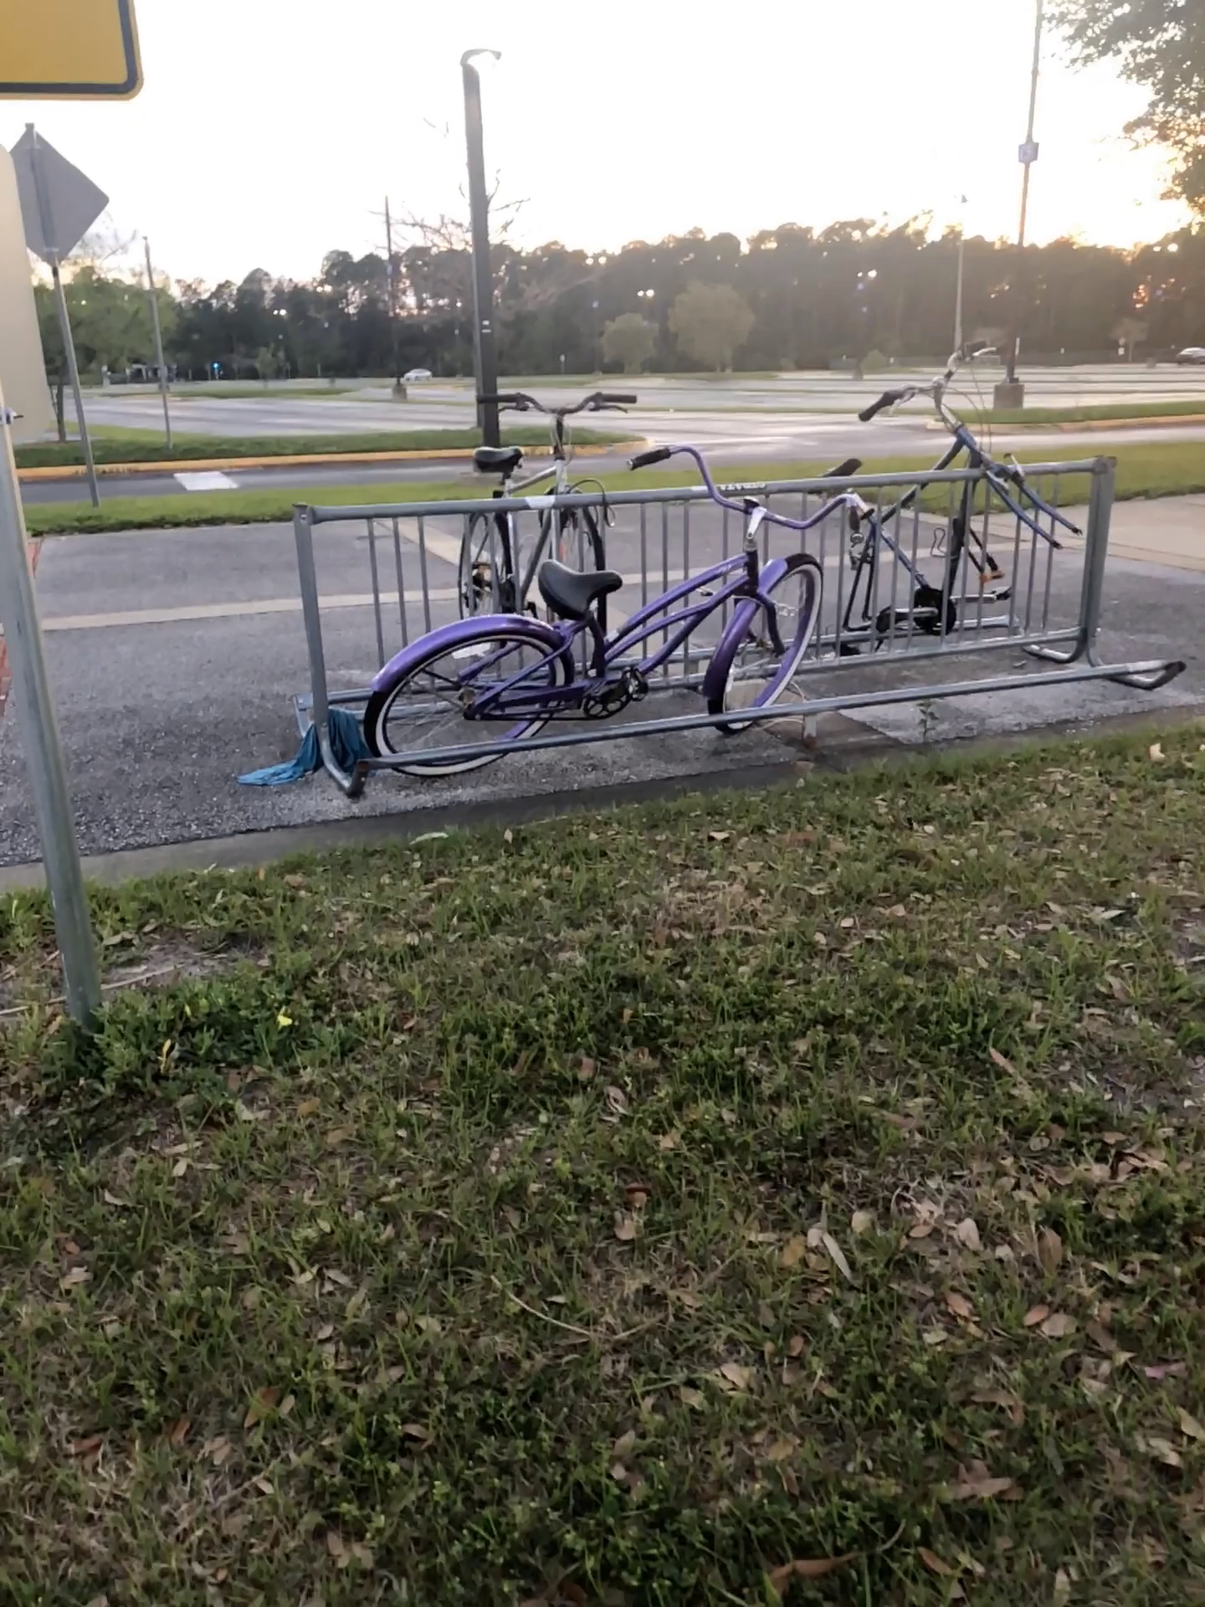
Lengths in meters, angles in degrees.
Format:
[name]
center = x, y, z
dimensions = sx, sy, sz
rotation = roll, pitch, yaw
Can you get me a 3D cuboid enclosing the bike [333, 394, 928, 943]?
[bike]
center = 0.101, -0.541, 3.990
dimensions = 1.702, 1.117, 0.852
rotation = -16, 22, -28
